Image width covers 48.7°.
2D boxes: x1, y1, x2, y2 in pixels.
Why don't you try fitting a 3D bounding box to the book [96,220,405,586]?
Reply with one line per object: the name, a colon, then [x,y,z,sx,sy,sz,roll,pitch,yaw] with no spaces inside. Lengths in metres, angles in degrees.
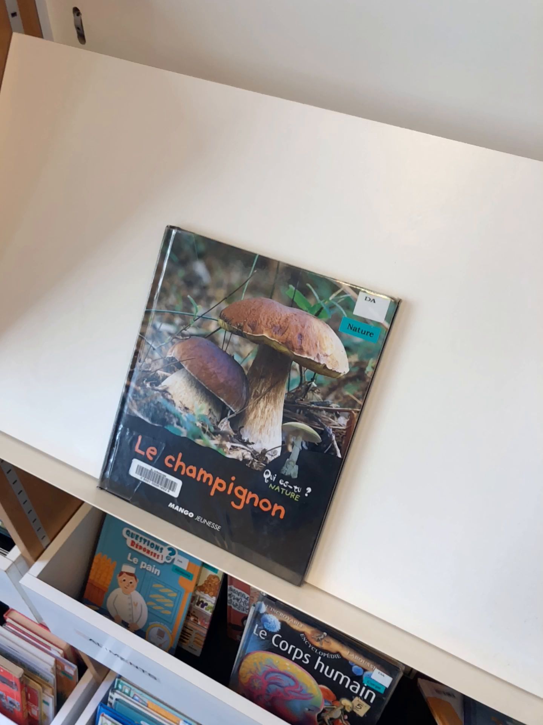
book: [-0.029,0.030,0.496,0.202,0.241,0.020,21,12,17]
